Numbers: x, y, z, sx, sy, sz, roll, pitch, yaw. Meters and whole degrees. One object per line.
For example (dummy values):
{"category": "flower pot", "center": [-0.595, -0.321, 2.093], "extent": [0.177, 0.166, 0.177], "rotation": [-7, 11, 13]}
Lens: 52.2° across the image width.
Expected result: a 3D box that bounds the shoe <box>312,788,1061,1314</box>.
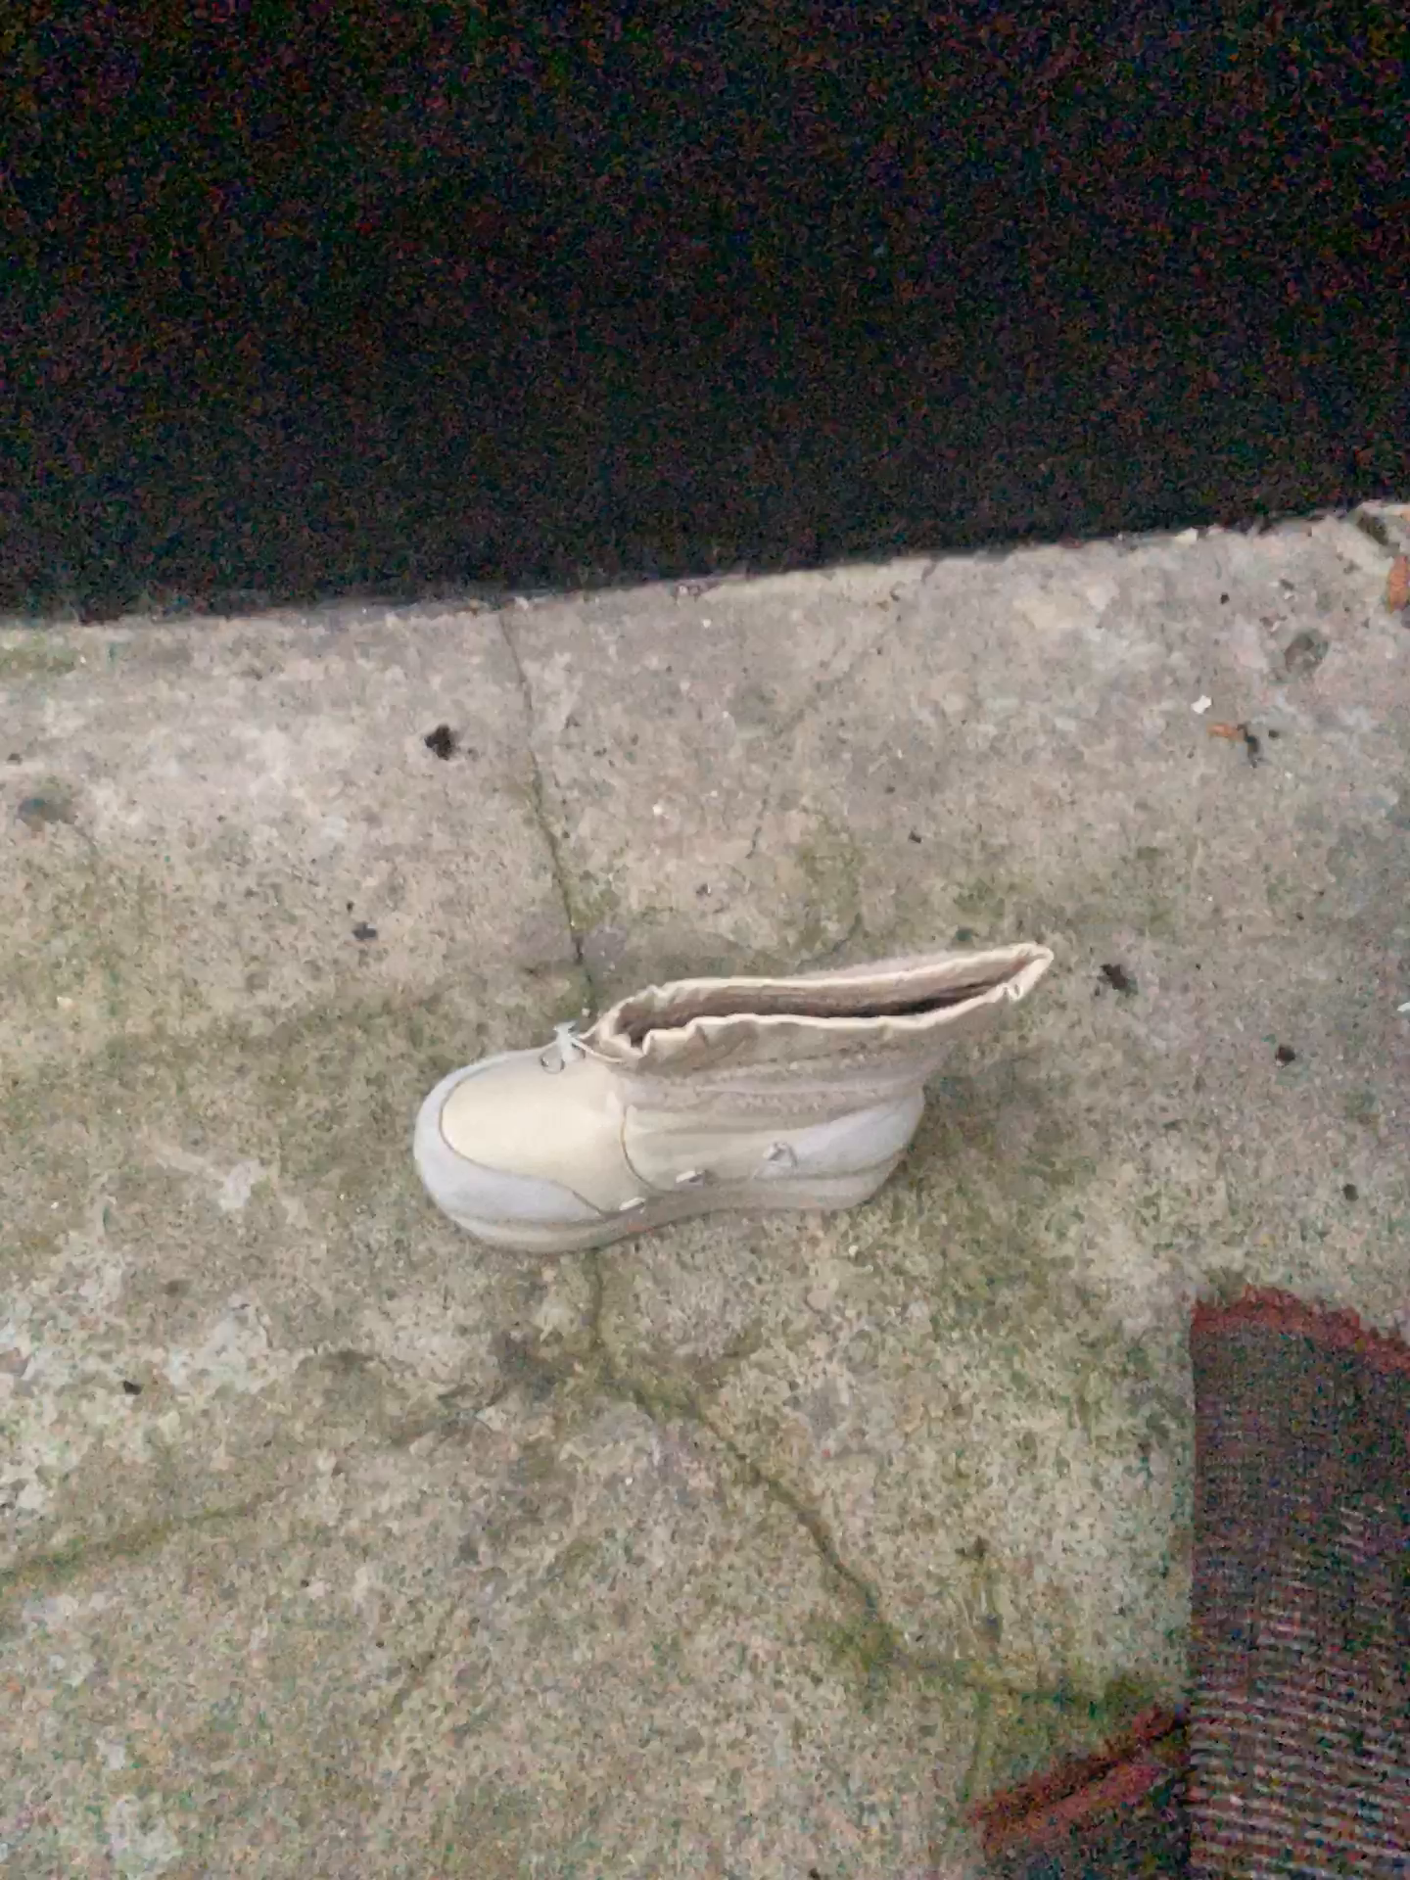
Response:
{"category": "shoe", "center": [-0.016, 0.070, 0.681], "extent": [0.270, 0.308, 0.121], "rotation": [-4, 63, -5]}
